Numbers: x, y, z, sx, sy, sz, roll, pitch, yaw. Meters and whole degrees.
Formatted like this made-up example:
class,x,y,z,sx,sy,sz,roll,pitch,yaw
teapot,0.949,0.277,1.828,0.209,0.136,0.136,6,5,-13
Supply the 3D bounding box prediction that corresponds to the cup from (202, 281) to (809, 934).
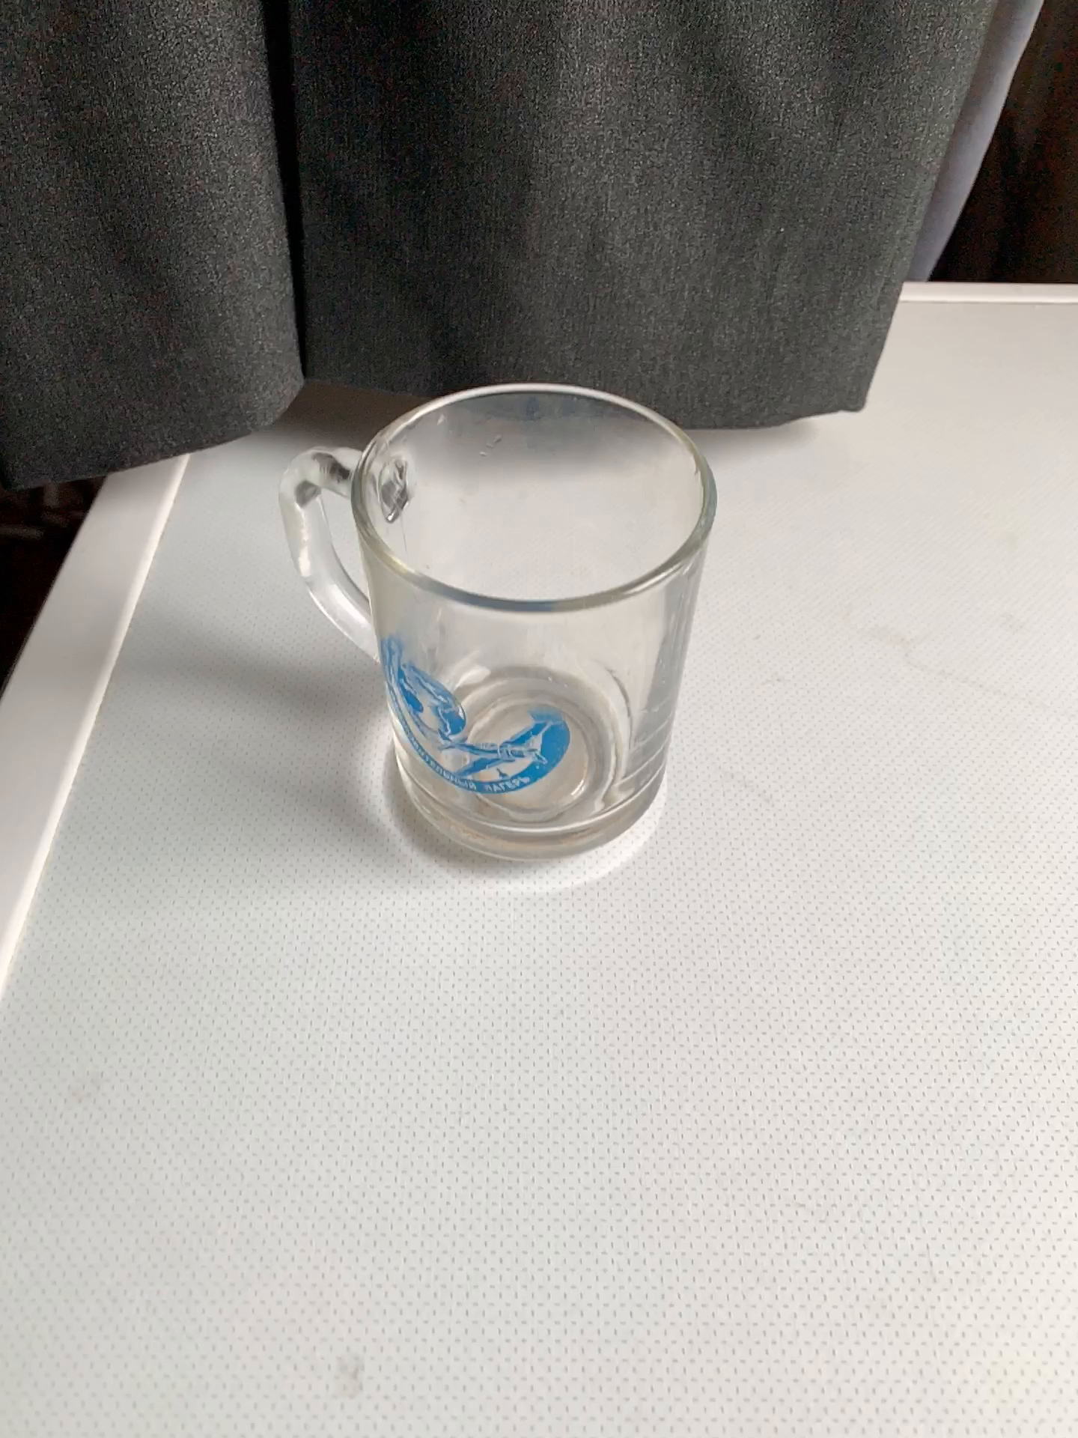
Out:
class,x,y,z,sx,sy,sz,roll,pitch,yaw
cup,-0.007,-0.026,0.243,0.090,0.089,0.070,31,55,25
